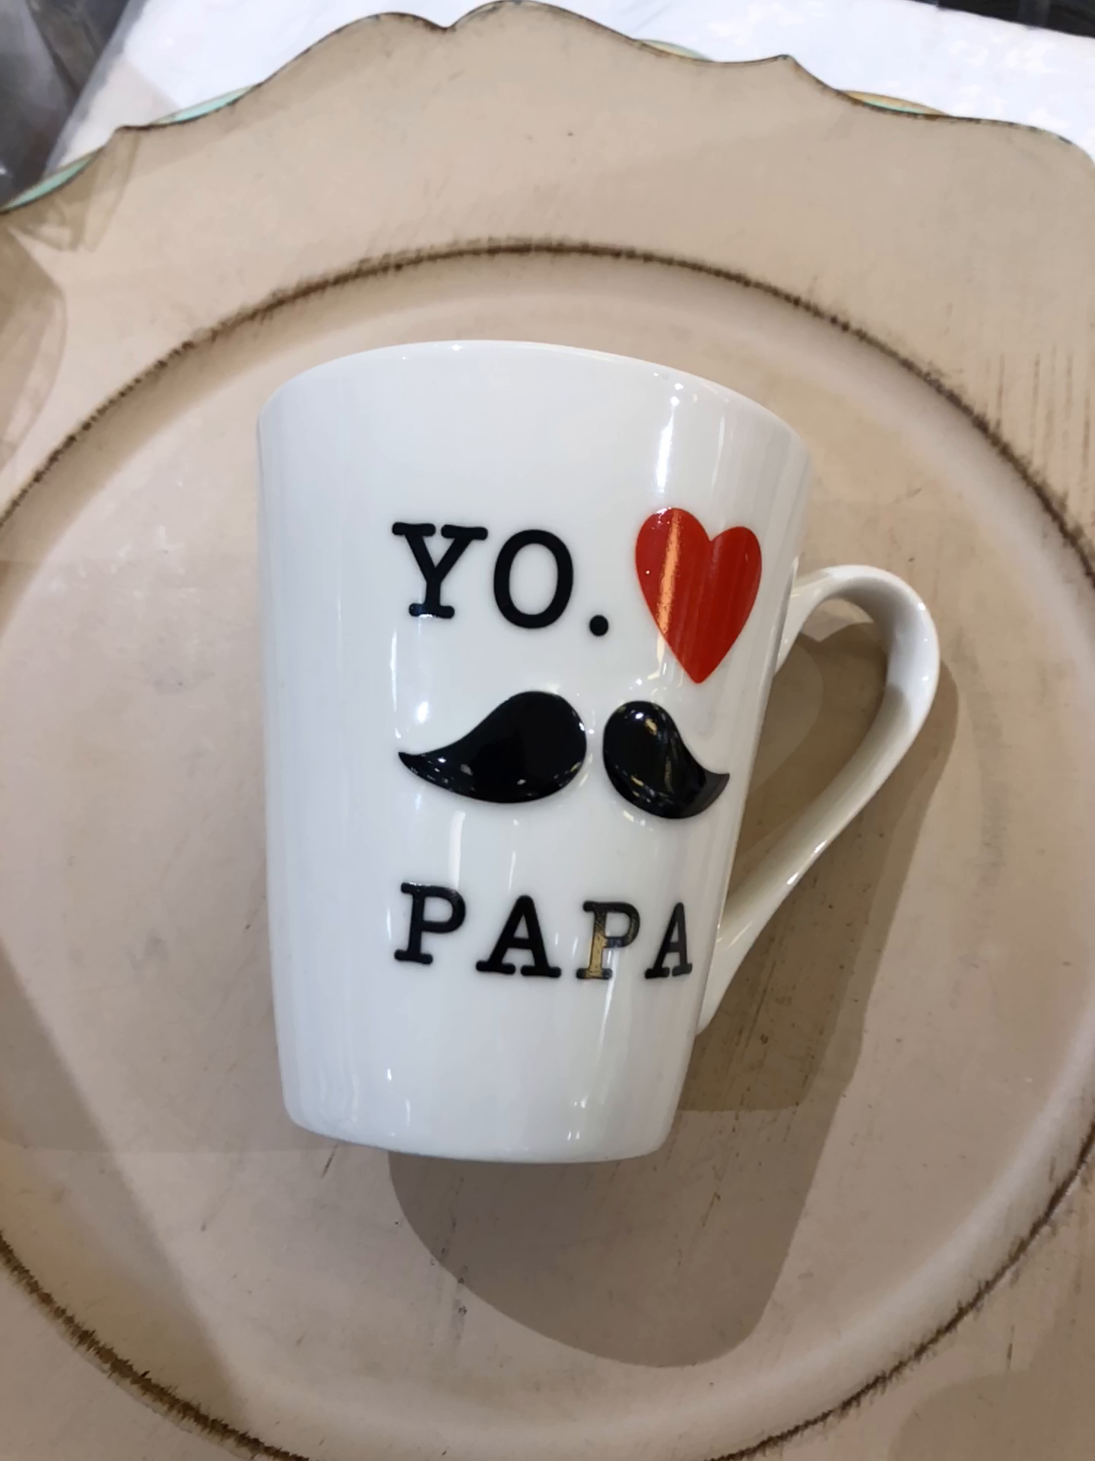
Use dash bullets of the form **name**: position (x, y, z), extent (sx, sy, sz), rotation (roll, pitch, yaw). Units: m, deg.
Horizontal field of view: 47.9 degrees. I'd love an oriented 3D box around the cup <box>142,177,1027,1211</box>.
- **cup**: position (-0.001, 0.003, 0.201), extent (0.110, 0.090, 0.120), rotation (2, 85, -18)
